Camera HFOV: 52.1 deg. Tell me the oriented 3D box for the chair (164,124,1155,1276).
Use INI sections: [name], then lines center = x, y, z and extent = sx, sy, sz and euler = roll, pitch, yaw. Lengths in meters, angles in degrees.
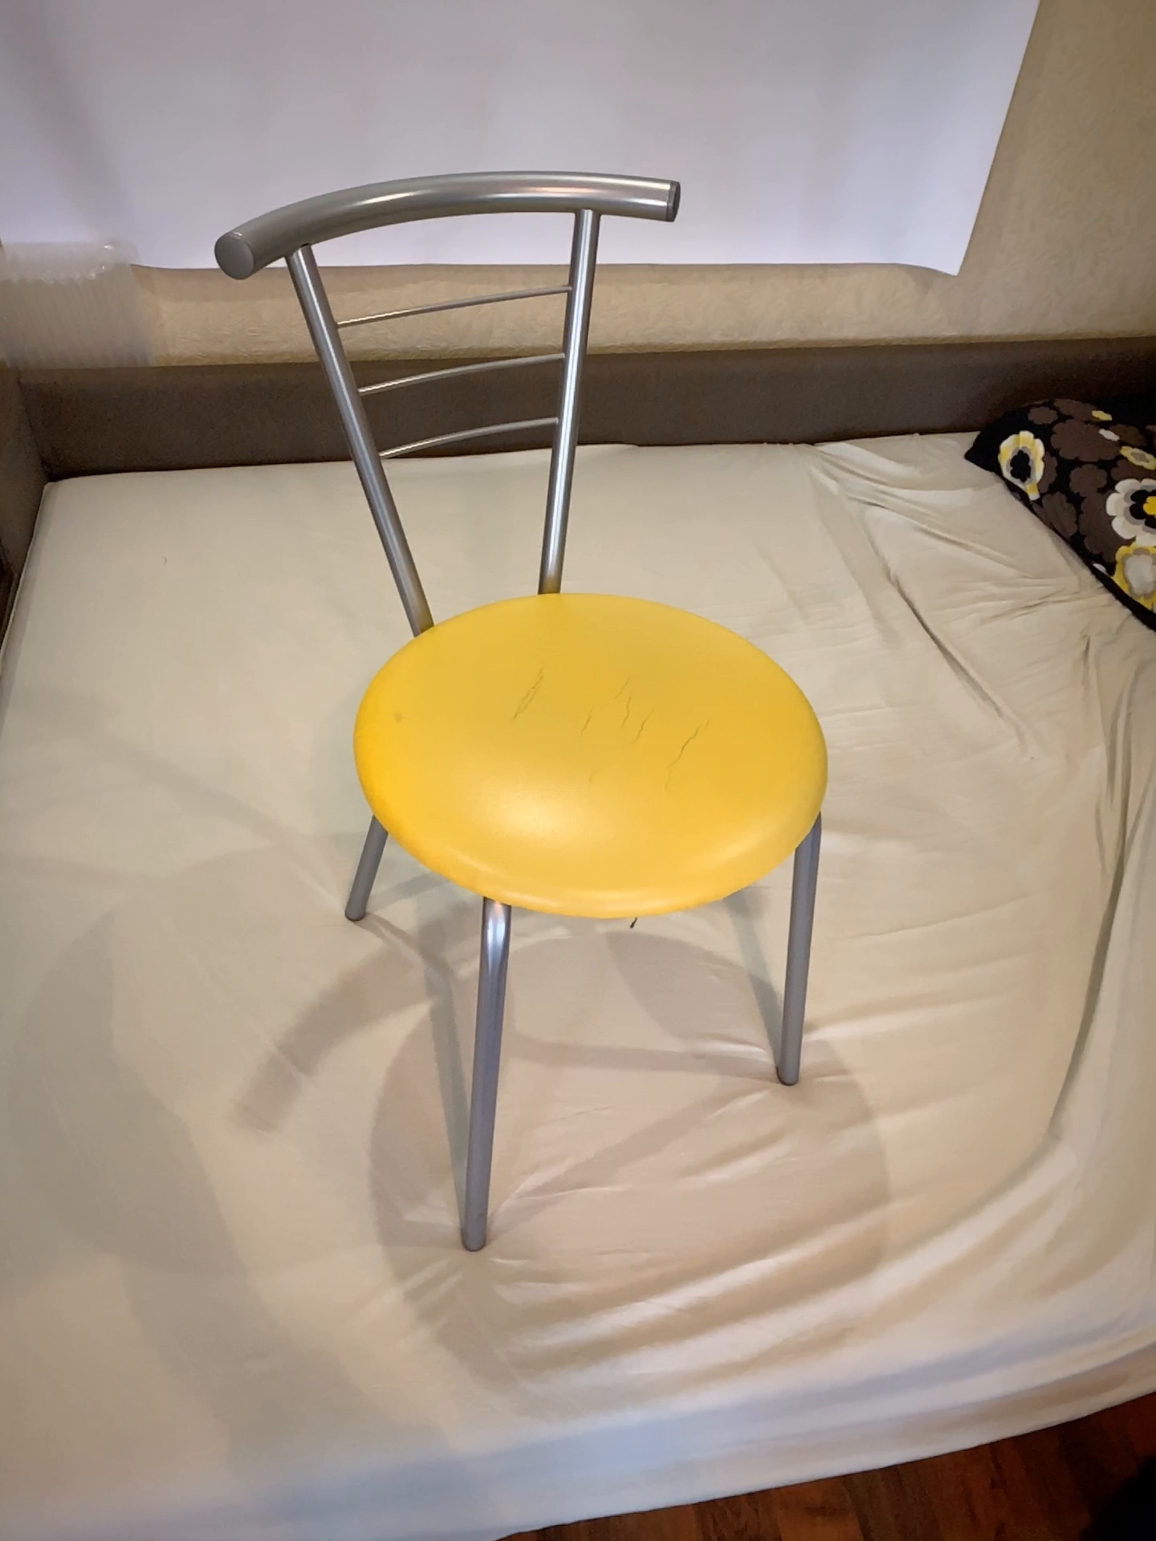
[chair]
center = 0.007, -0.051, 1.033
extent = 0.461, 0.763, 0.503
euler = -19, 49, -23
